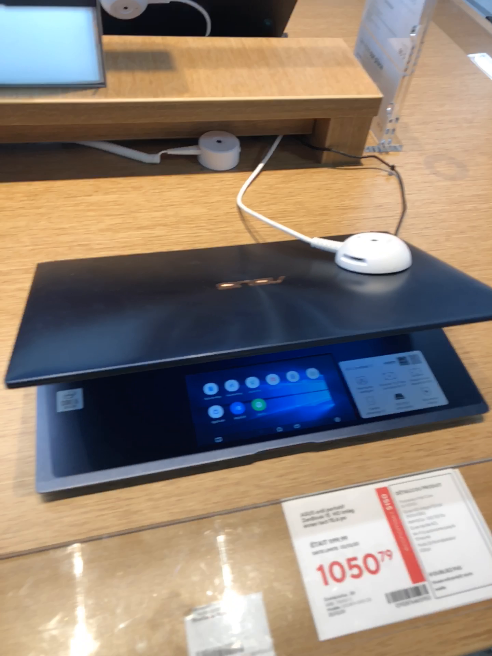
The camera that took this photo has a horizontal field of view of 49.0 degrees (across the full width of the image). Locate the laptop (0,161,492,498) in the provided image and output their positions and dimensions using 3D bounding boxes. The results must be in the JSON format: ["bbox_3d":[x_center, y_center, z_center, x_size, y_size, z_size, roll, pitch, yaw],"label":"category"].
[{"bbox_3d":[0.011,-0.021,0.424,0.352,0.098,0.209,-7,51,-14],"label":"laptop"}]
